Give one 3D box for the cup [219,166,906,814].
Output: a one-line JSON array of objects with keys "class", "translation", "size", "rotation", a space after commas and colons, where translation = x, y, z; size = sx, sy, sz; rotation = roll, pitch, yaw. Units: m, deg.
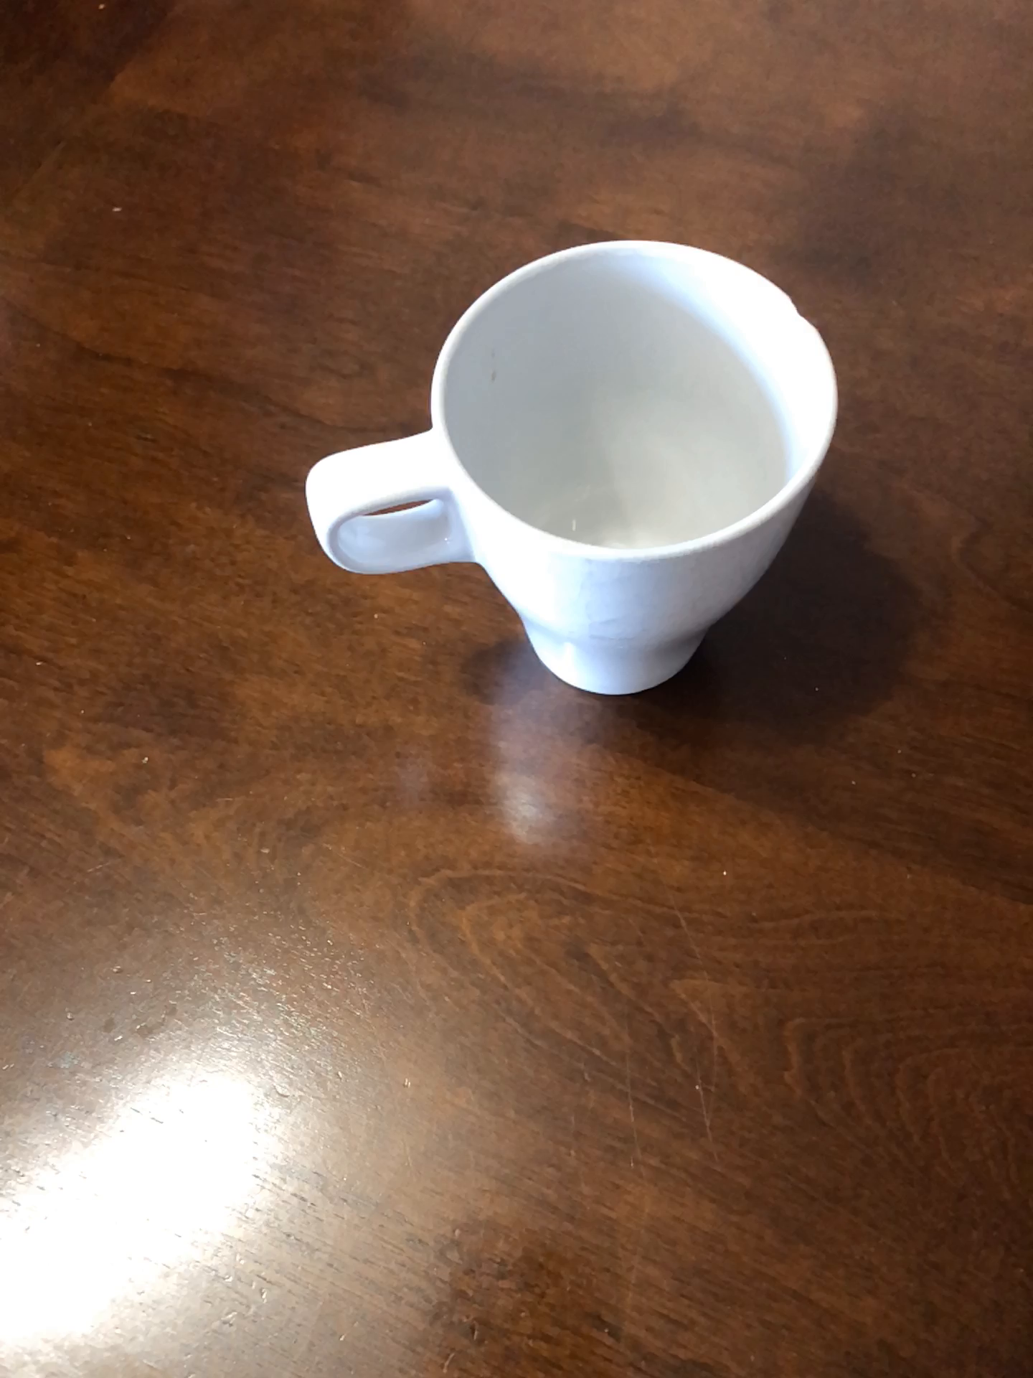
[{"class": "cup", "translation": [0.009, -0.043, 0.282], "size": [0.120, 0.100, 0.080], "rotation": [-20, 64, -7]}]
